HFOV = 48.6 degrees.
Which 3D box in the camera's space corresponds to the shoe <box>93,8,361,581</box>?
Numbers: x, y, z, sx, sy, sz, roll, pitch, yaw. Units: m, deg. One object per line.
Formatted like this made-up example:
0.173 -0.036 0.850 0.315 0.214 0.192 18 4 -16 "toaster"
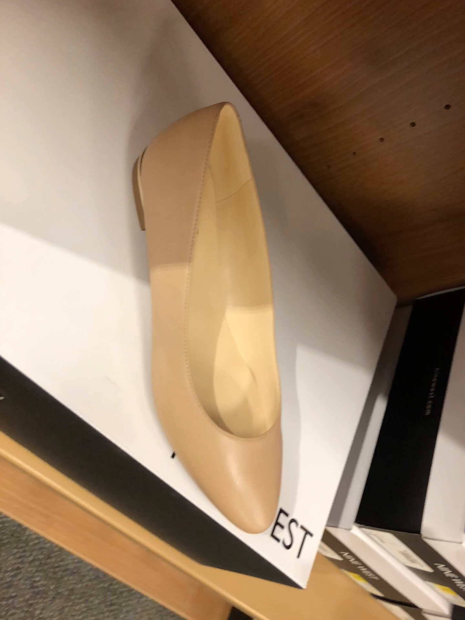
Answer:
-0.003 -0.008 0.292 0.082 0.070 0.270 -11 91 -41 "shoe"
